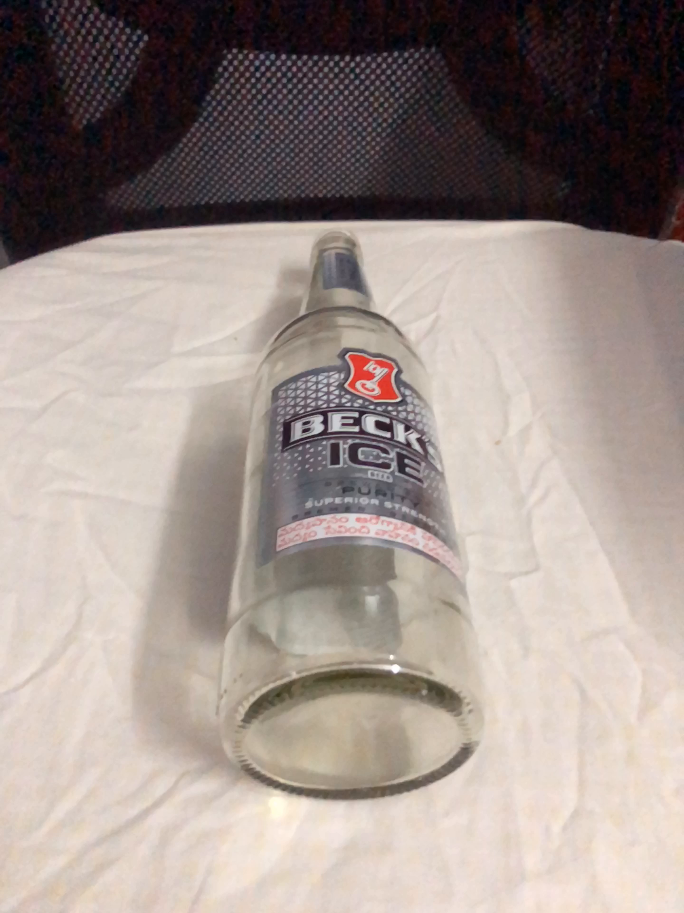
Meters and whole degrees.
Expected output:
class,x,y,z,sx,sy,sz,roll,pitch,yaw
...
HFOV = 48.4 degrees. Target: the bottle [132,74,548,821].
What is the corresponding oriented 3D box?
class,x,y,z,sx,sy,sz,roll,pitch,yaw
bottle,-0.005,-0.035,0.269,0.080,0.080,0.281,-1,49,-1
